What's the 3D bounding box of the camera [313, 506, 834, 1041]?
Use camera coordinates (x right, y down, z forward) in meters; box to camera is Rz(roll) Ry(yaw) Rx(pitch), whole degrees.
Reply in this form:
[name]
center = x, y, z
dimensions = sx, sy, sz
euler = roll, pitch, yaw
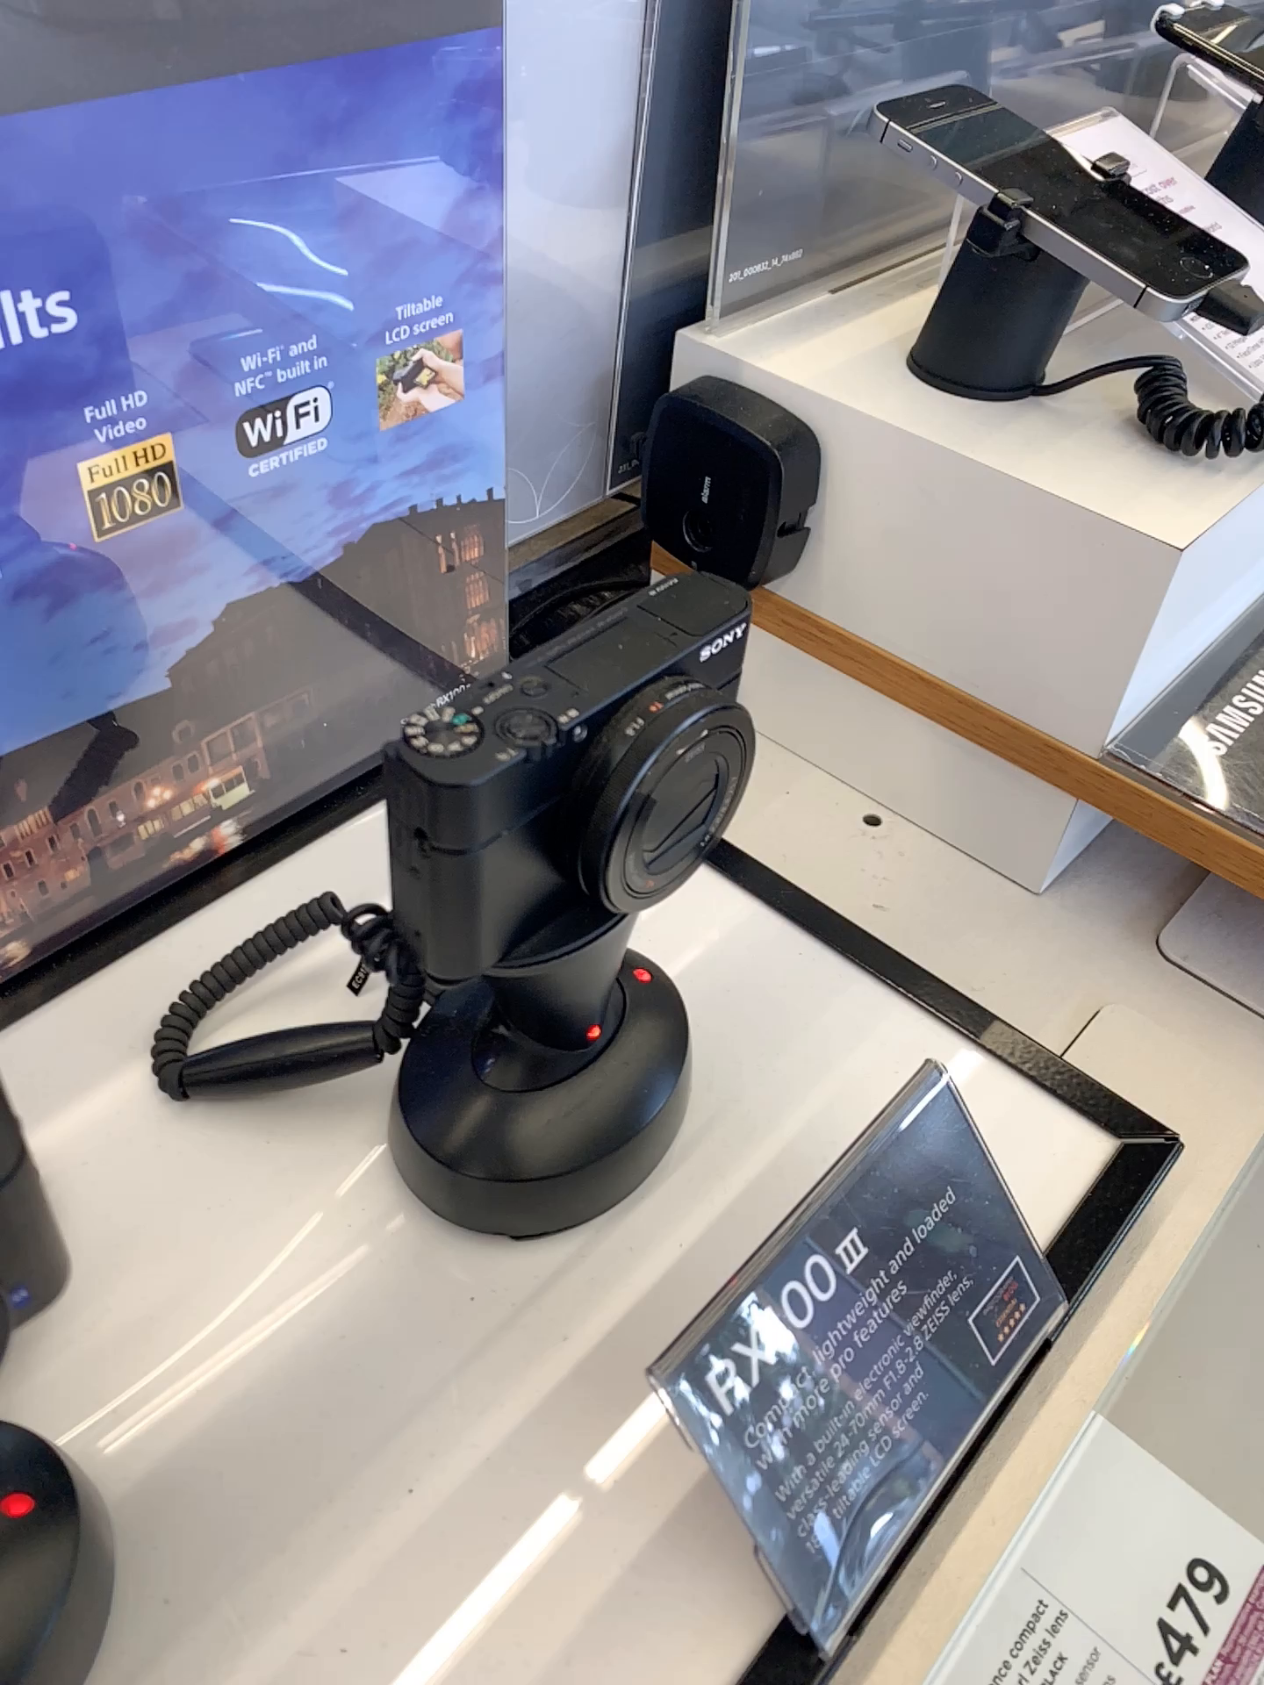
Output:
[camera]
center = -0.010, -0.020, 0.293
dimensions = 0.050, 0.059, 0.111
euler = 31, 49, 24
